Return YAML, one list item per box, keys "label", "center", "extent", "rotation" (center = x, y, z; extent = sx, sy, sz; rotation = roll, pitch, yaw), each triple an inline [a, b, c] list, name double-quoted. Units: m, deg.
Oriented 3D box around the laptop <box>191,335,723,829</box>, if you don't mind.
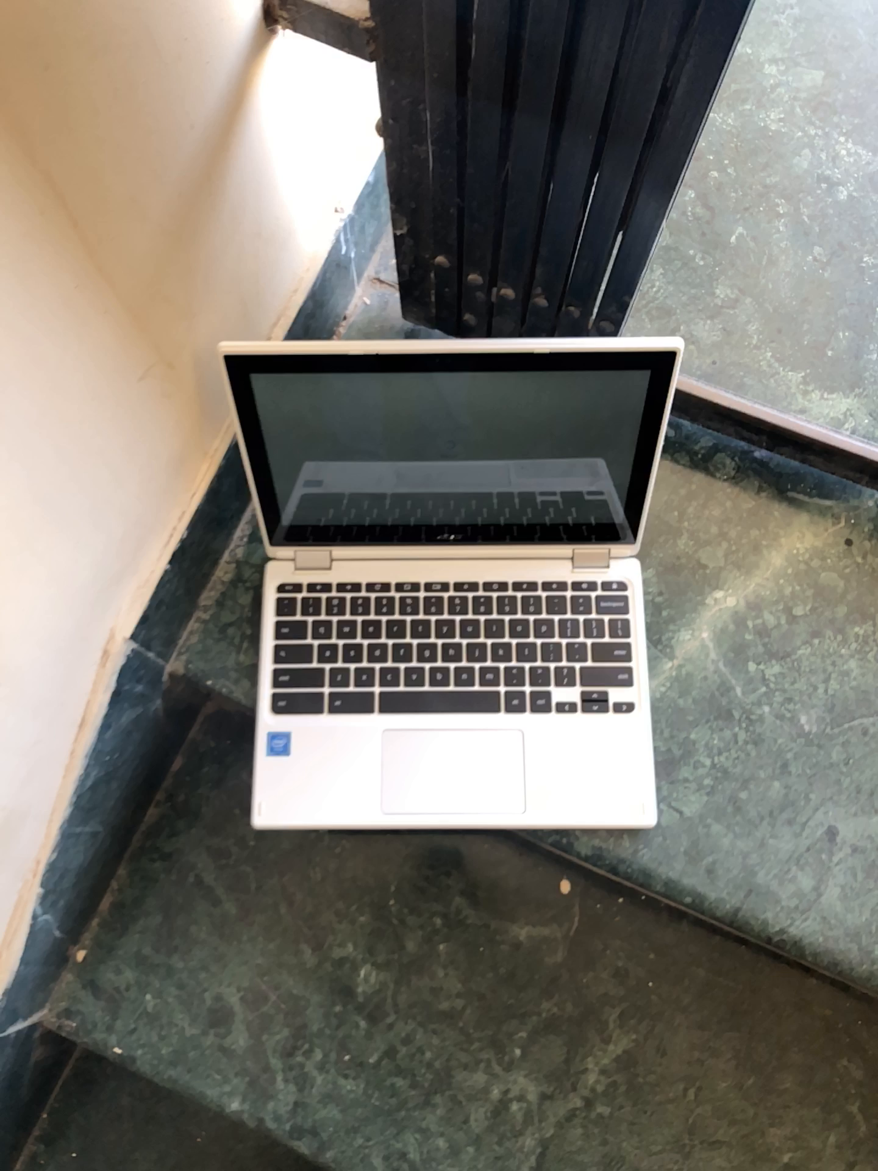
- label: "laptop"
  center: [0.010, 0.010, 0.628]
  extent: [0.278, 0.179, 0.271]
  rotation: [-1, 73, 0]
